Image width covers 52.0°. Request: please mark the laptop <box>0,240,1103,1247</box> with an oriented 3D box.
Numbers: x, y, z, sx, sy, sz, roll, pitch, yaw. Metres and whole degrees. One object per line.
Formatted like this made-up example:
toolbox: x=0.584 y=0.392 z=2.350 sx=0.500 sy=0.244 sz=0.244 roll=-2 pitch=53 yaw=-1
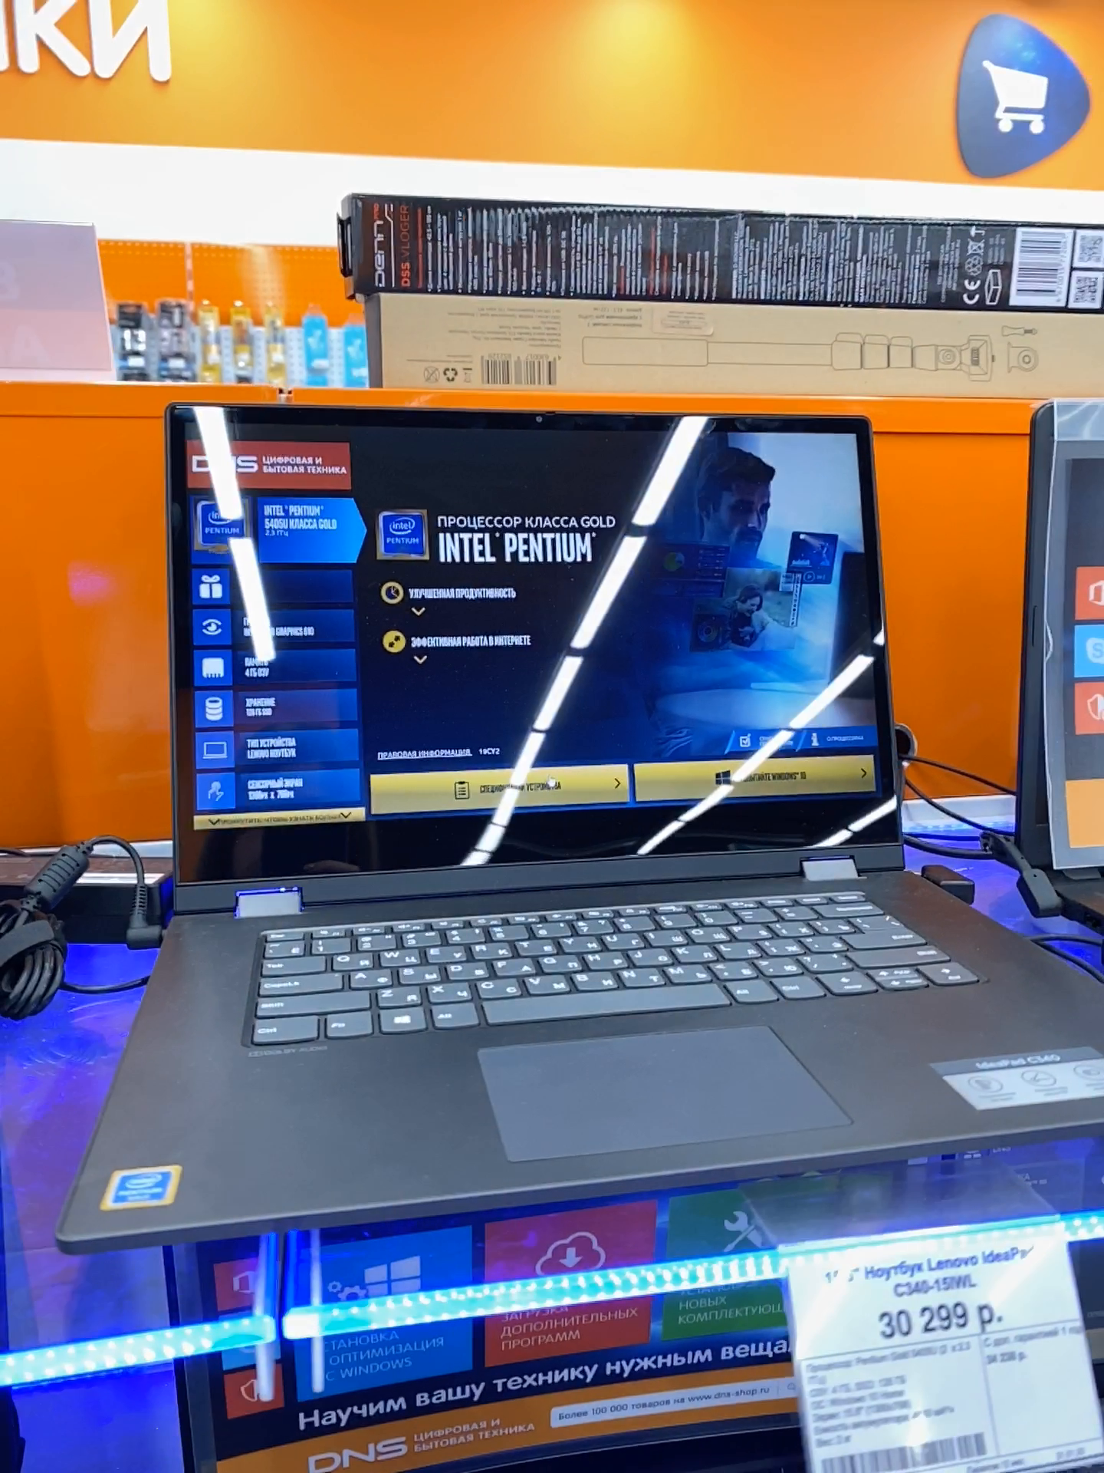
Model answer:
laptop: x=0.018 y=-0.024 z=0.449 sx=0.362 sy=0.232 sz=0.318 roll=-2 pitch=10 yaw=-12
